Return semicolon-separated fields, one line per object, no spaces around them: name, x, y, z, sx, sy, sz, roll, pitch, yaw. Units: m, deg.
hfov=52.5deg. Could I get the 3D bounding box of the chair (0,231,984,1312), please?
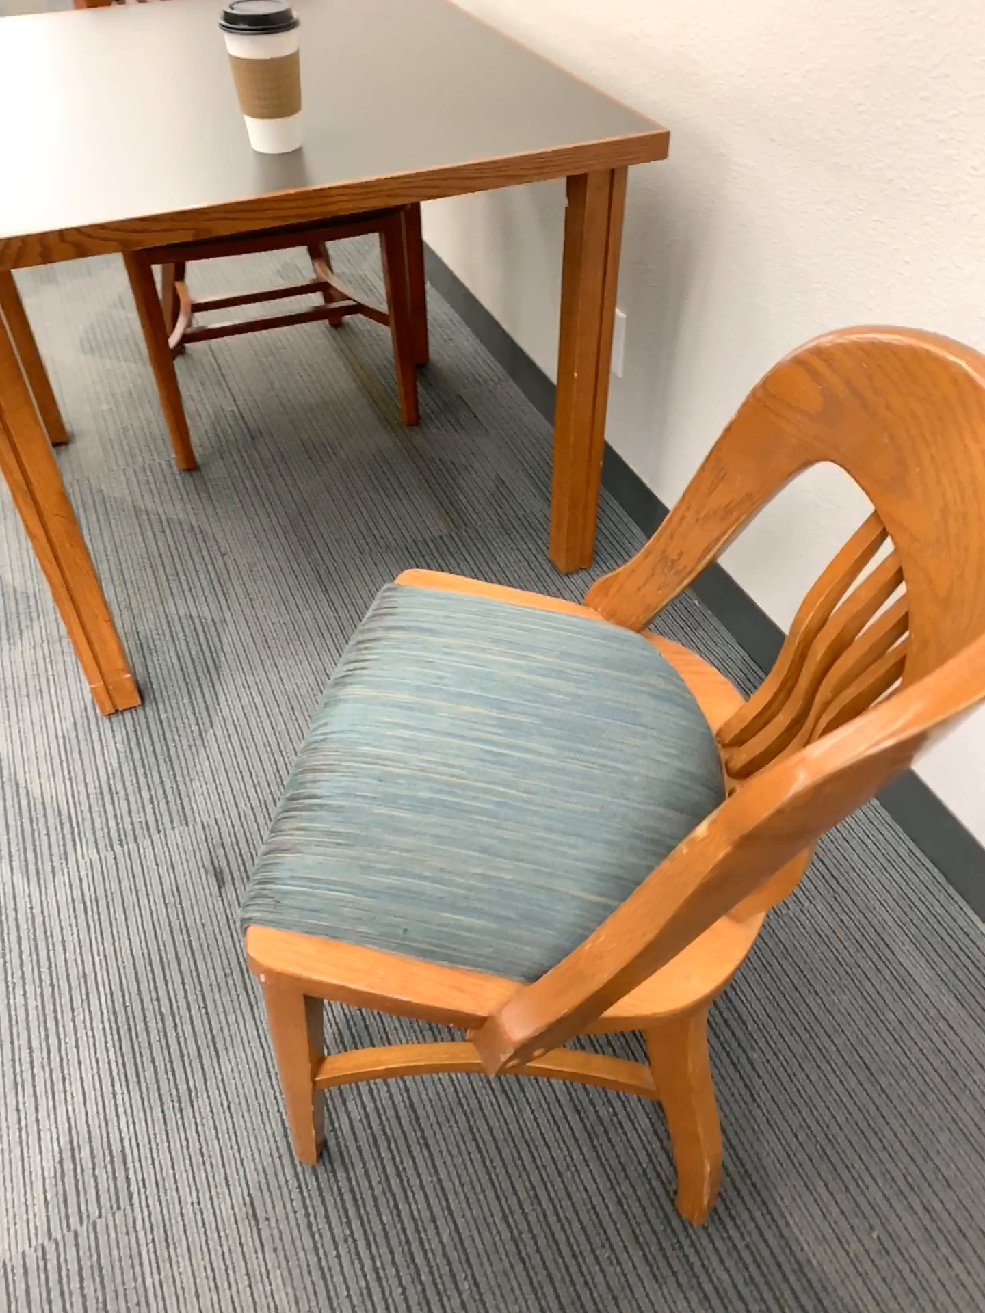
chair;0.110;0.121;0.917;0.620;0.746;0.552;8;46;8
